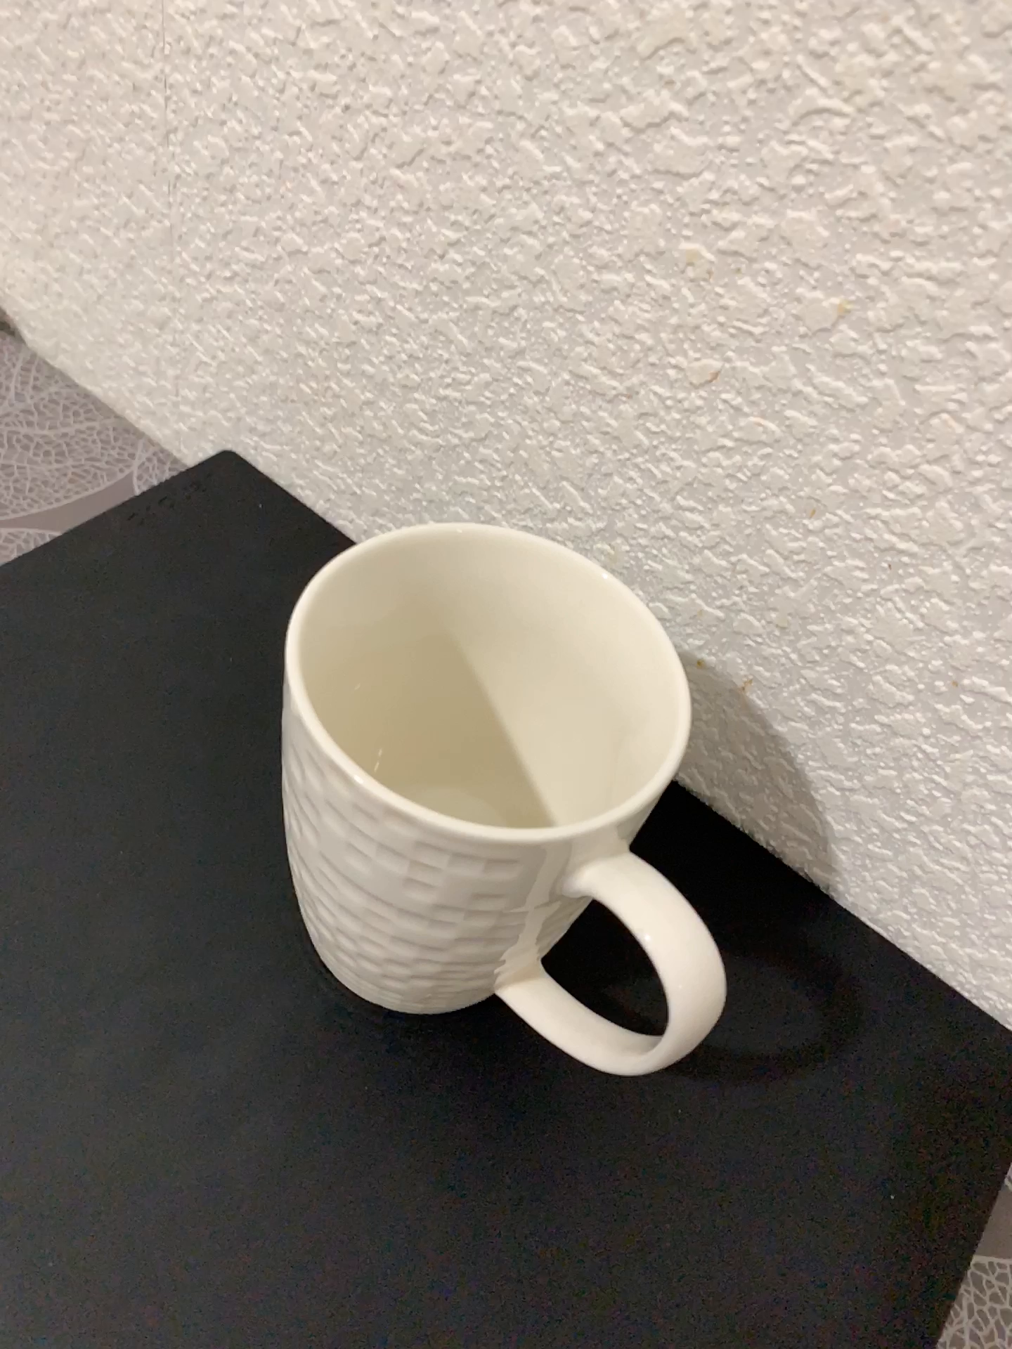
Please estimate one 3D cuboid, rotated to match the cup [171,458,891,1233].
[{"bbox_3d":[-0.004,0.038,0.242,0.081,0.105,0.119,-33,65,-33],"label":"cup"}]
